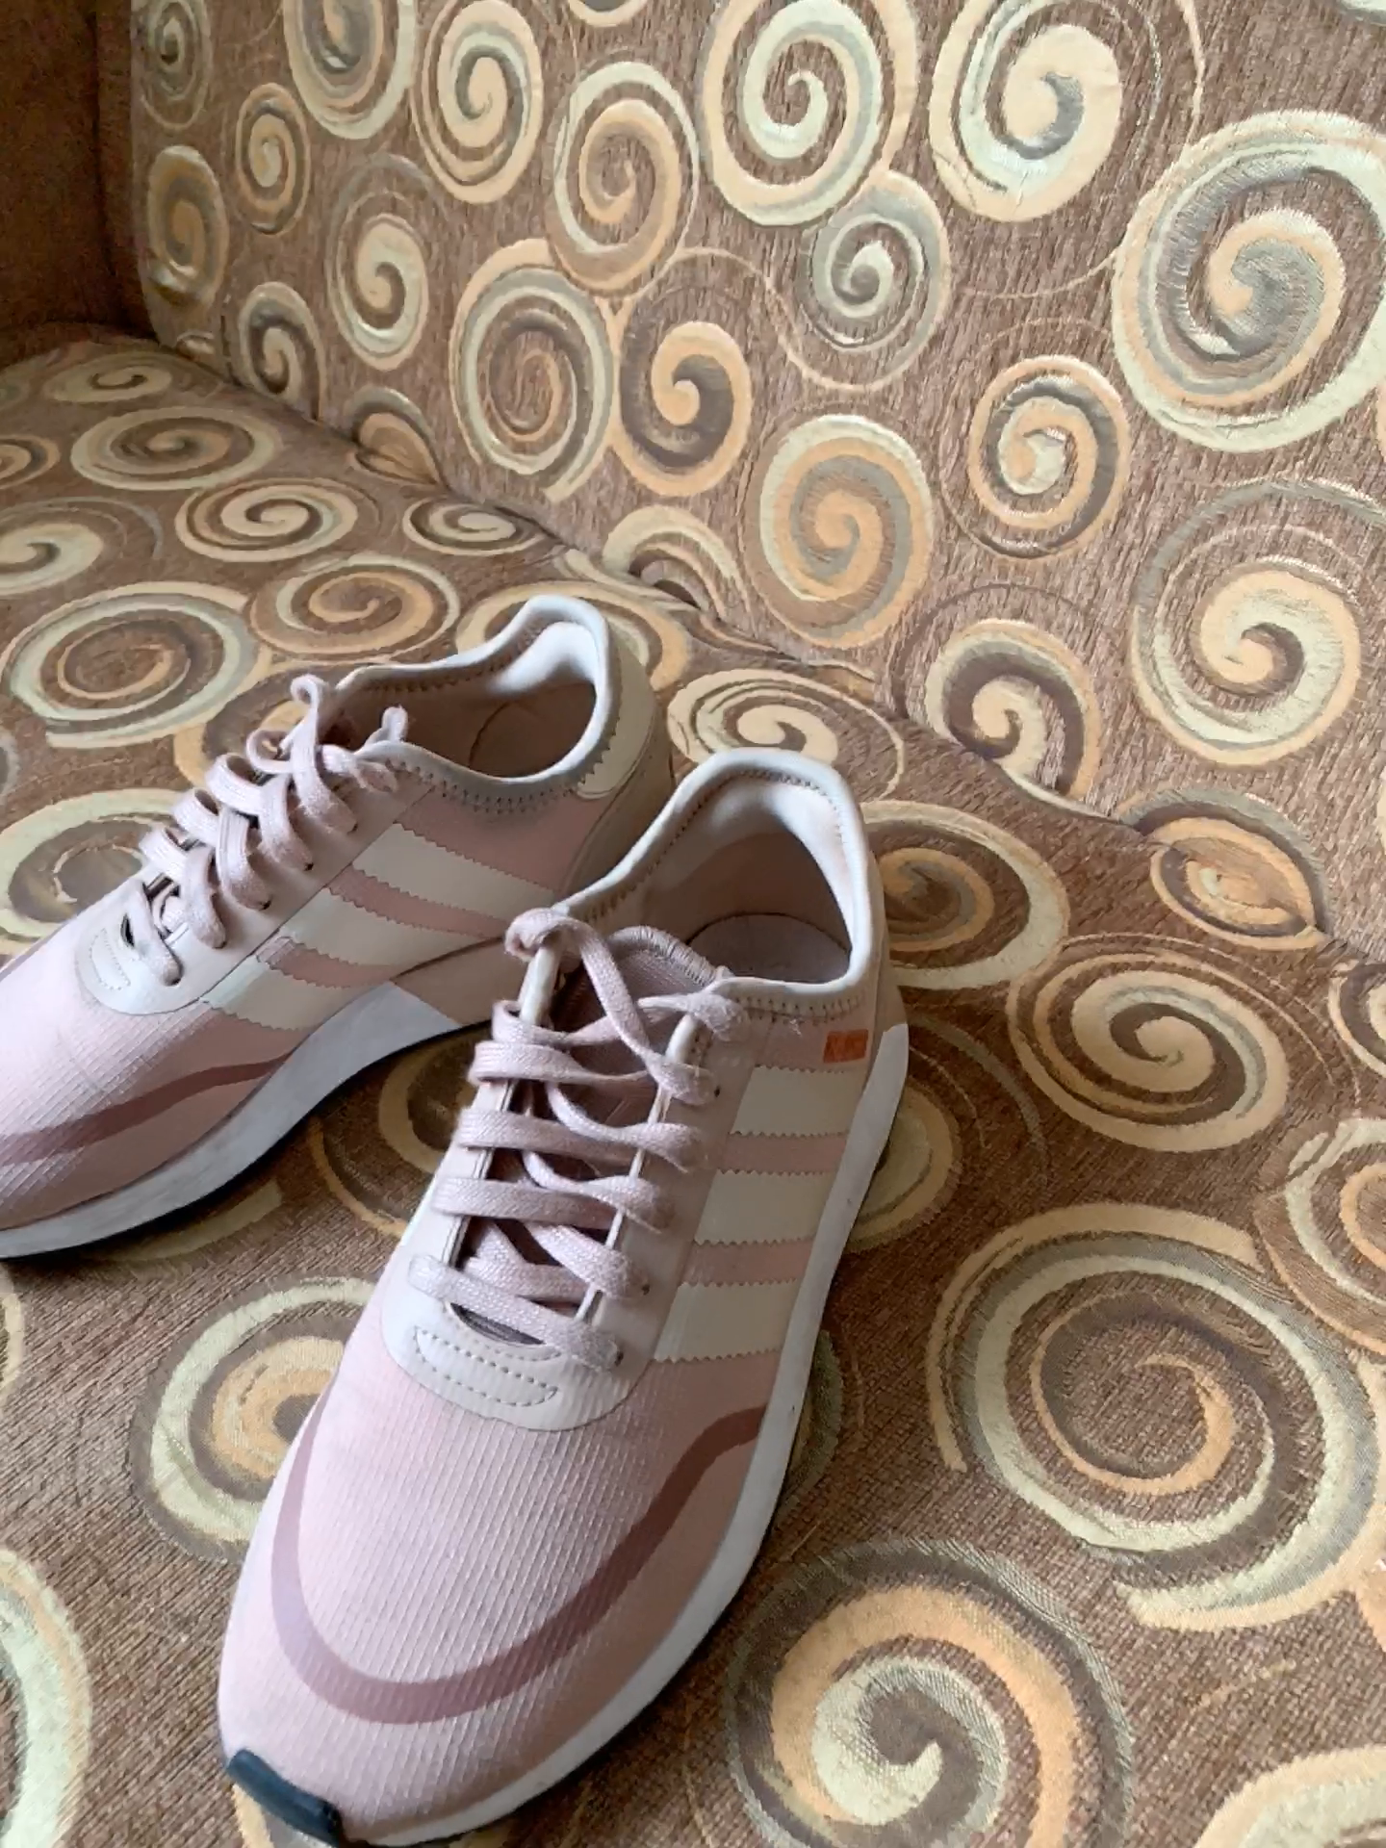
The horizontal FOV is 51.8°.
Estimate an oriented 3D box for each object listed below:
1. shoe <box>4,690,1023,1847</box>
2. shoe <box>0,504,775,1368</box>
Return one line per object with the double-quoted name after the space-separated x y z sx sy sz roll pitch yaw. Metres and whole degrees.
-0.013 0.068 0.321 0.100 0.090 0.251 16 51 17 "shoe"
-0.108 -0.009 0.384 0.250 0.090 0.100 -29 52 -21 "shoe"
